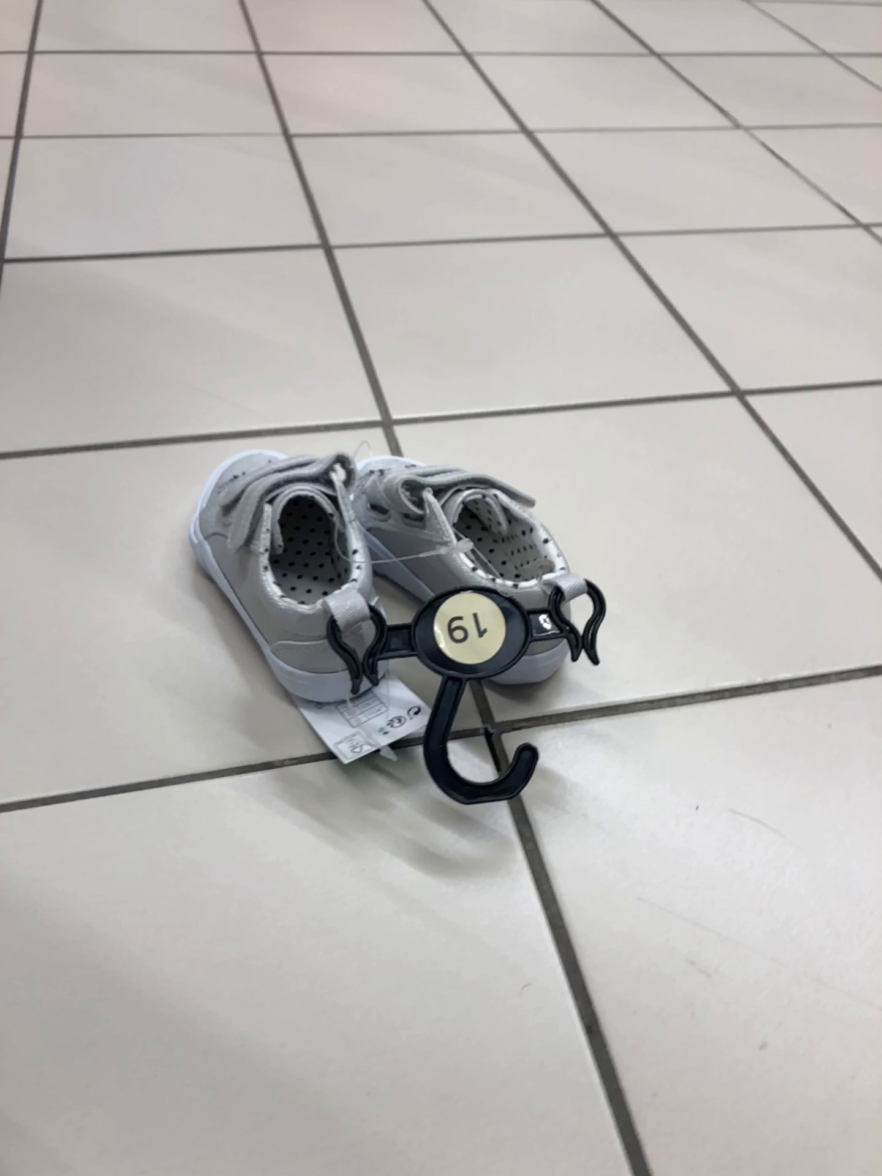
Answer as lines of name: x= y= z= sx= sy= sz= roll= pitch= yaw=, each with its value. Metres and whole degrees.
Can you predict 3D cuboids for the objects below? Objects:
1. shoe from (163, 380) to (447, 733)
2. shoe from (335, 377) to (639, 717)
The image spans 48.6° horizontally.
shoe: x=-0.058 y=-0.019 z=0.392 sx=0.064 sy=0.053 sz=0.138 roll=-16 pitch=48 yaw=-21
shoe: x=0.011 y=-0.023 z=0.402 sx=0.059 sy=0.053 sz=0.138 roll=-18 pitch=48 yaw=-22
